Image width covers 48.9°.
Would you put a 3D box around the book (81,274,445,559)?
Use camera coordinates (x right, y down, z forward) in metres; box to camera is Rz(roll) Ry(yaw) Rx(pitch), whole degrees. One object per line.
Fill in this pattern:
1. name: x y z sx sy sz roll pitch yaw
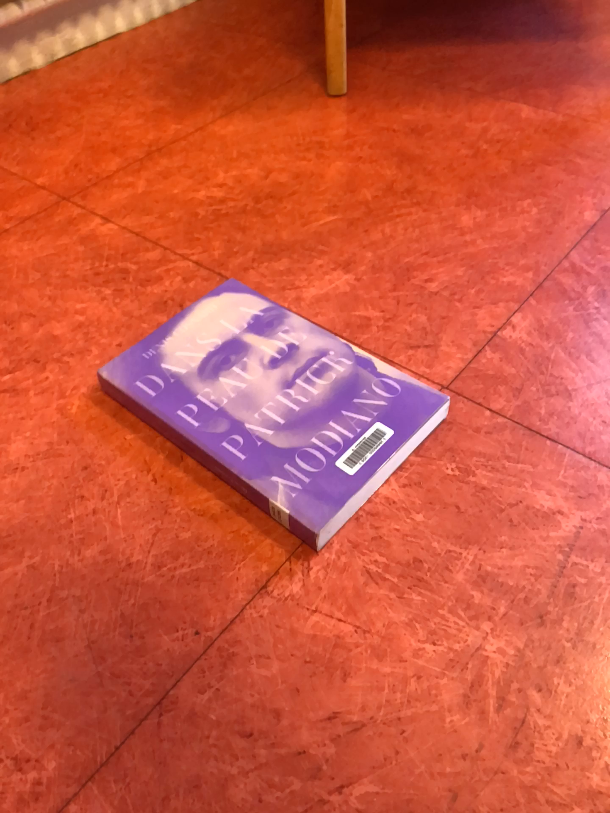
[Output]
1. book: -0.035 -0.010 0.511 0.233 0.030 0.151 32 56 28
